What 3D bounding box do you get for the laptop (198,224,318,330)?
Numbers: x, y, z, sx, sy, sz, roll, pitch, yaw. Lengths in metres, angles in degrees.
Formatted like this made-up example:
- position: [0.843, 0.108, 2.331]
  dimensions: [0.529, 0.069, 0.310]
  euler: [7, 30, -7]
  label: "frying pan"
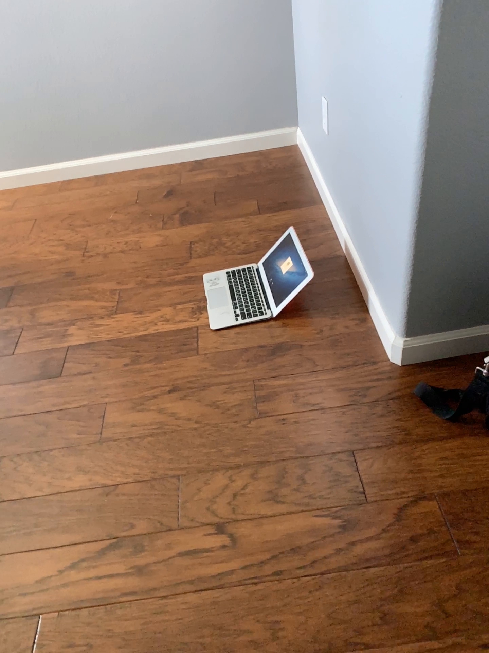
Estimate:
- position: [0.031, -0.160, 1.527]
  dimensions: [0.322, 0.117, 0.295]
  euler: [-12, 39, 1]
  label: "laptop"
